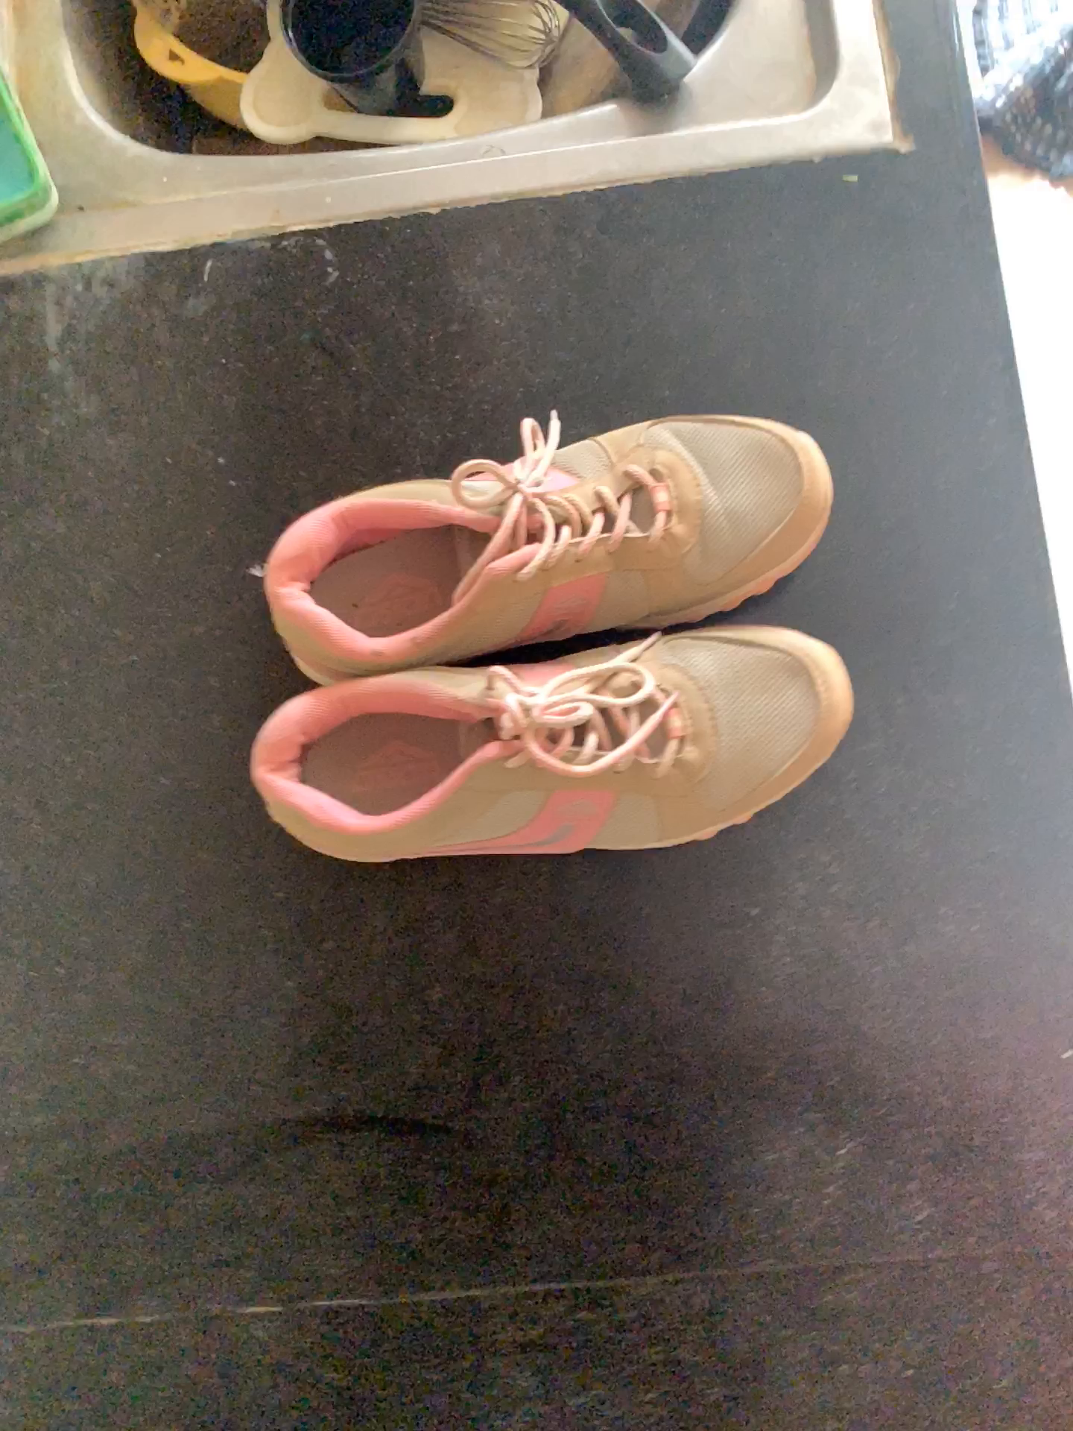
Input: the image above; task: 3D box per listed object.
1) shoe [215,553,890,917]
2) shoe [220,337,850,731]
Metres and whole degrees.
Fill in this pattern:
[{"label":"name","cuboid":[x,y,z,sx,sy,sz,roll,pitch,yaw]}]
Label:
[{"label":"shoe","cuboid":[0.006,0.014,0.460,0.240,0.100,0.100,-9,81,3]},{"label":"shoe","cuboid":[0.000,-0.070,0.475,0.230,0.100,0.090,-14,81,2]}]
